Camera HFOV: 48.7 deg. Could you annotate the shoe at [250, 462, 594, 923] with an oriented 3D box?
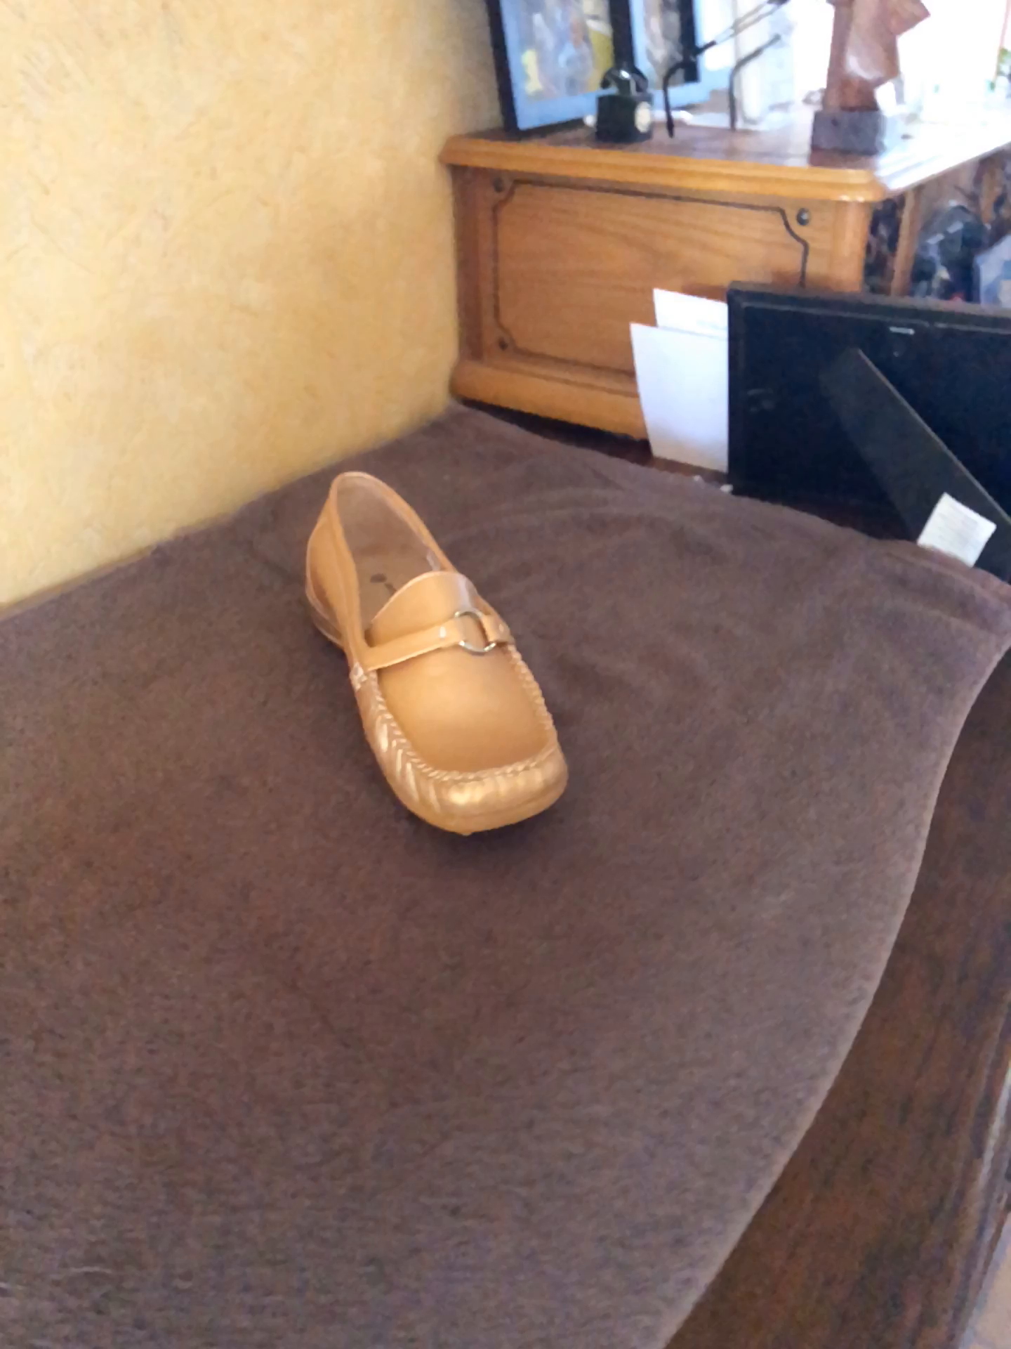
[{"bbox_3d":[-0.051,-0.011,0.527,0.080,0.080,0.261,-13,34,-17],"label":"shoe"}]
